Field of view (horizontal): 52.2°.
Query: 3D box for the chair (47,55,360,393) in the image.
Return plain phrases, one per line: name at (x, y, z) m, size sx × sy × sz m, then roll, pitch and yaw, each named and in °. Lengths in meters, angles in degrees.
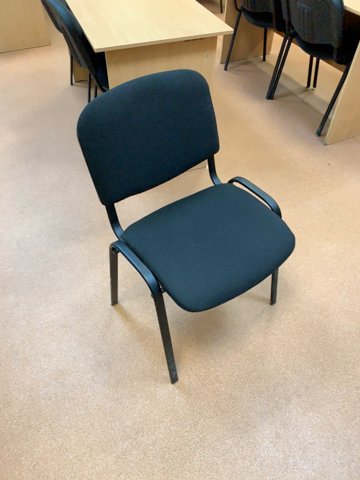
chair at (0.043, -0.045, 1.235) m, size 0.575 × 0.784 × 0.593 m, roll -29°, pitch 55°, yaw -24°
